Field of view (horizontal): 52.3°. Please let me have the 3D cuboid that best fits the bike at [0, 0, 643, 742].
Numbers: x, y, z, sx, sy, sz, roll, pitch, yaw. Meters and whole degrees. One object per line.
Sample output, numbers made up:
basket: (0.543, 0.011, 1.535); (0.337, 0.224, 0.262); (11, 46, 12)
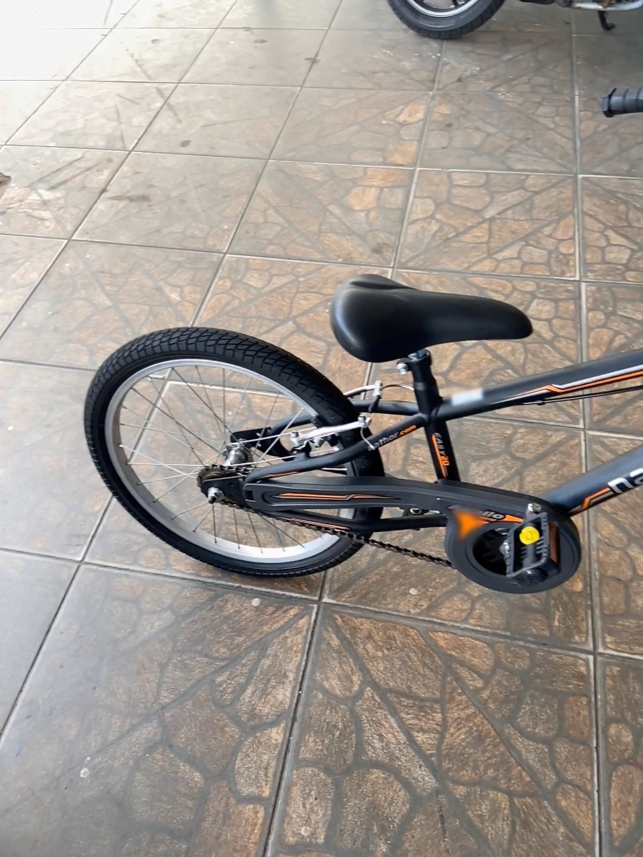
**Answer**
bike: (0.282, -0.119, 0.899); (1.349, 0.979, 0.726); (3, 53, 5)
